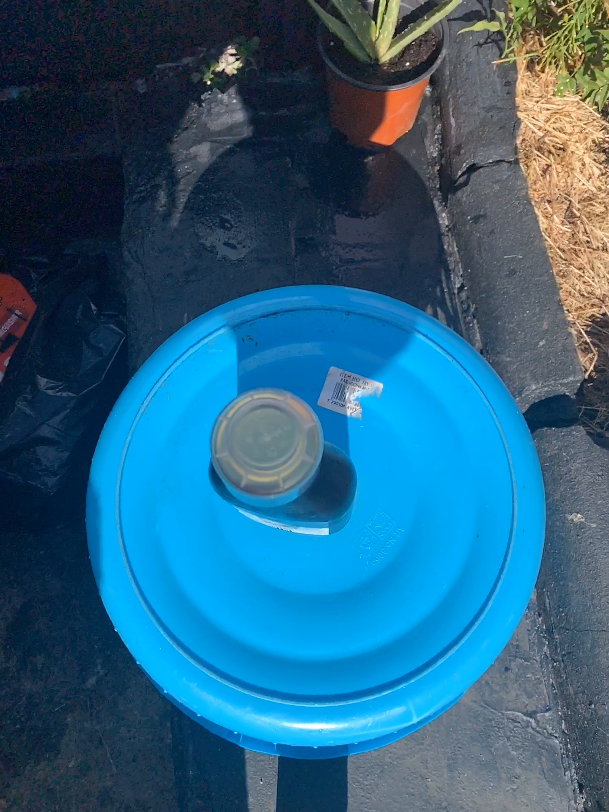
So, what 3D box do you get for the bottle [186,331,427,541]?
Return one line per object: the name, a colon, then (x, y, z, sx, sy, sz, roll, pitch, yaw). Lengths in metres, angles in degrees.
bottle: (-0.003, 0.030, 0.321, 0.080, 0.199, 0.050, 10, 74, 0)
